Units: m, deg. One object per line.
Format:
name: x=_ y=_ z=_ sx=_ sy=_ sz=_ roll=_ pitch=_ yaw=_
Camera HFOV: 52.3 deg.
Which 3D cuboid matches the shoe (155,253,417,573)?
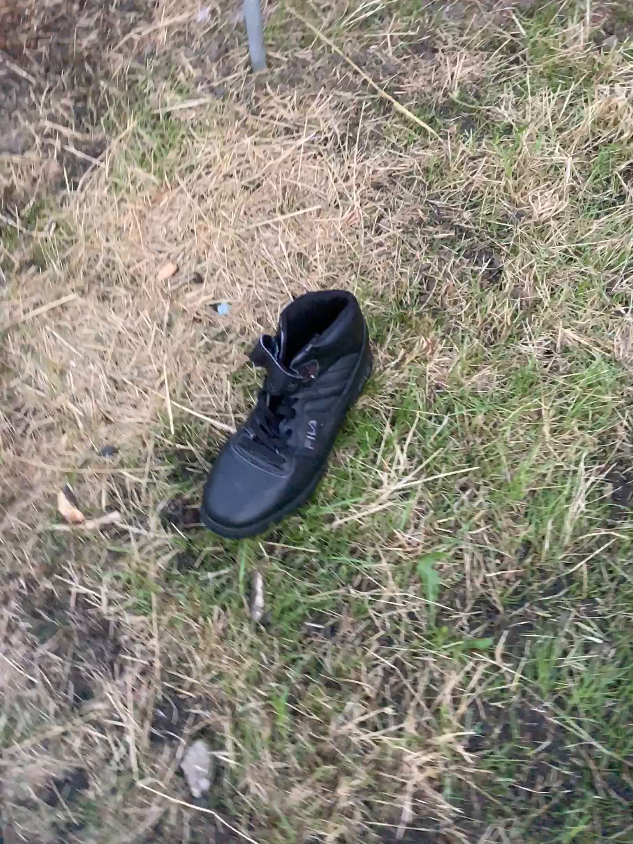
shoe: x=-0.019 y=-0.009 z=0.629 sx=0.110 sy=0.119 sz=0.271 roll=28 pitch=70 yaw=12
